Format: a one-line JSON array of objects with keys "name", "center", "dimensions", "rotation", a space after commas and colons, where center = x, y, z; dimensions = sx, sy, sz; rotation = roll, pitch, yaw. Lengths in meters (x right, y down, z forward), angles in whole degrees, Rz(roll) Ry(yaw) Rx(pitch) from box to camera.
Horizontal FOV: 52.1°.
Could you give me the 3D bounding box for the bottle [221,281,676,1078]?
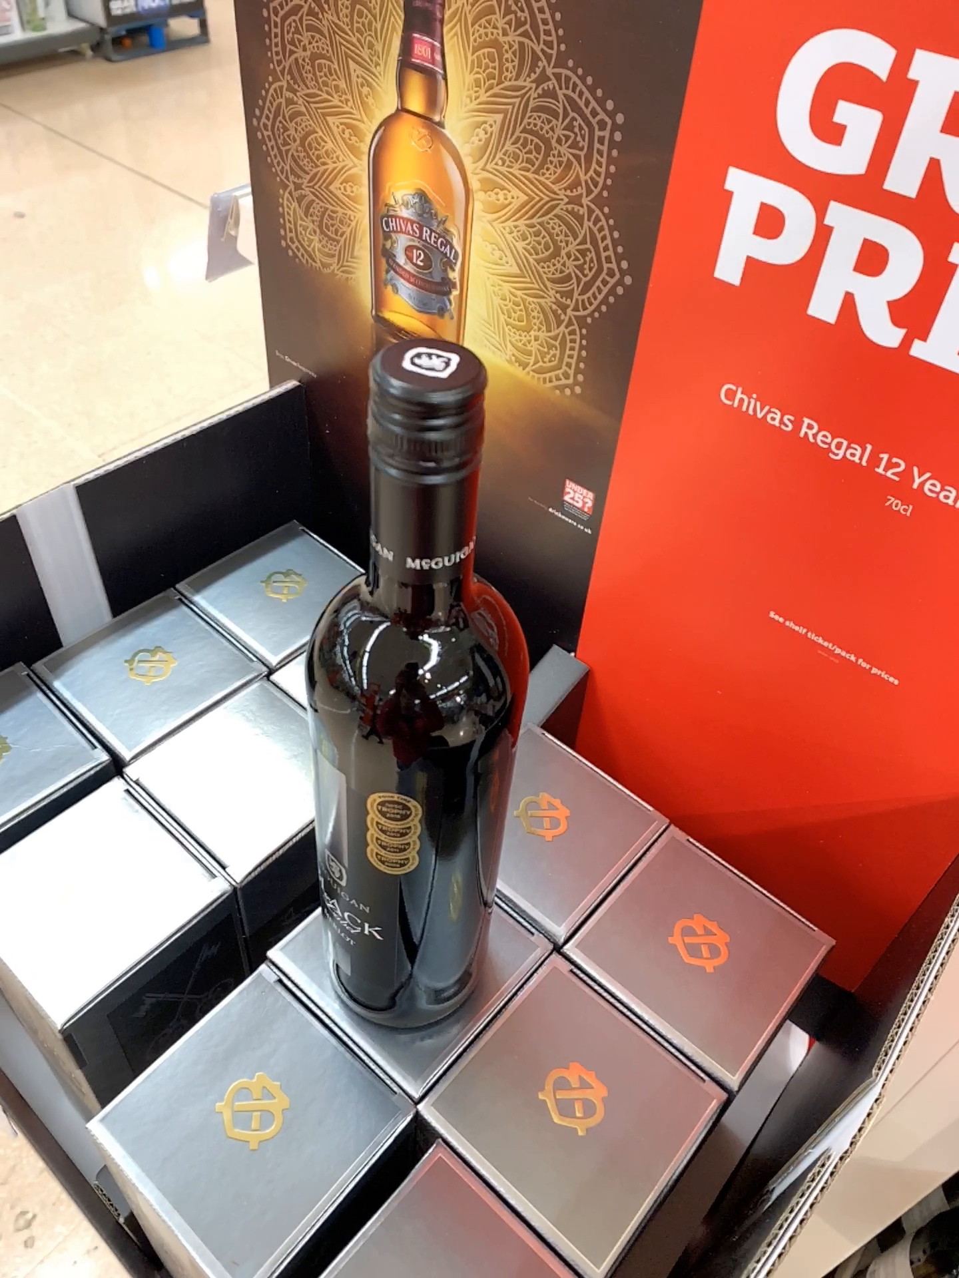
[{"name": "bottle", "center": [-0.017, 0.040, 0.329], "dimensions": [0.080, 0.287, 0.070], "rotation": [-24, 52, -25]}]
